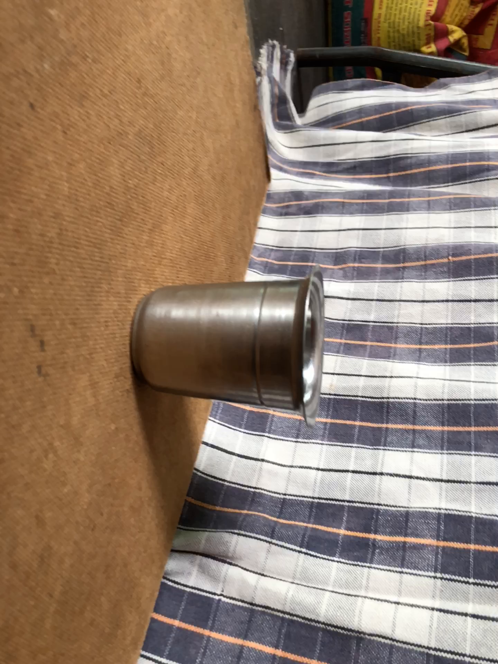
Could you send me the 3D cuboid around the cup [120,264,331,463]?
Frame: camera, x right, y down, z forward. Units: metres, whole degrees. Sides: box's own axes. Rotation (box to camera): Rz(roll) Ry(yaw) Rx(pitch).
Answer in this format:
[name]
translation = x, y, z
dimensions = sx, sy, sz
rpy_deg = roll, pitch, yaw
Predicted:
[cup]
translation = -0.005, 0.010, 0.262
dimensions = 0.070, 0.080, 0.070
rpy_deg = 2, 90, -77
